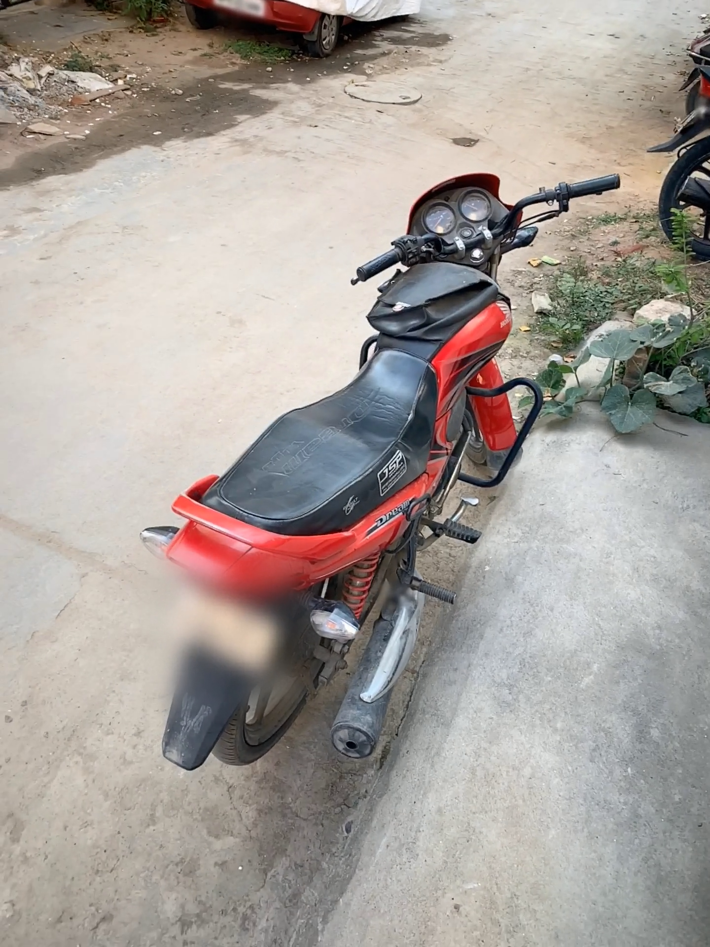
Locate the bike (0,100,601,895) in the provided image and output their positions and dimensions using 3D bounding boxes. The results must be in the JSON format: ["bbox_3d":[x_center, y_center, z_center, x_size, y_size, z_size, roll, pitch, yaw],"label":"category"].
[{"bbox_3d":[0.057,-0.131,1.908,0.758,1.092,1.714,16,43,12],"label":"bike"}]
